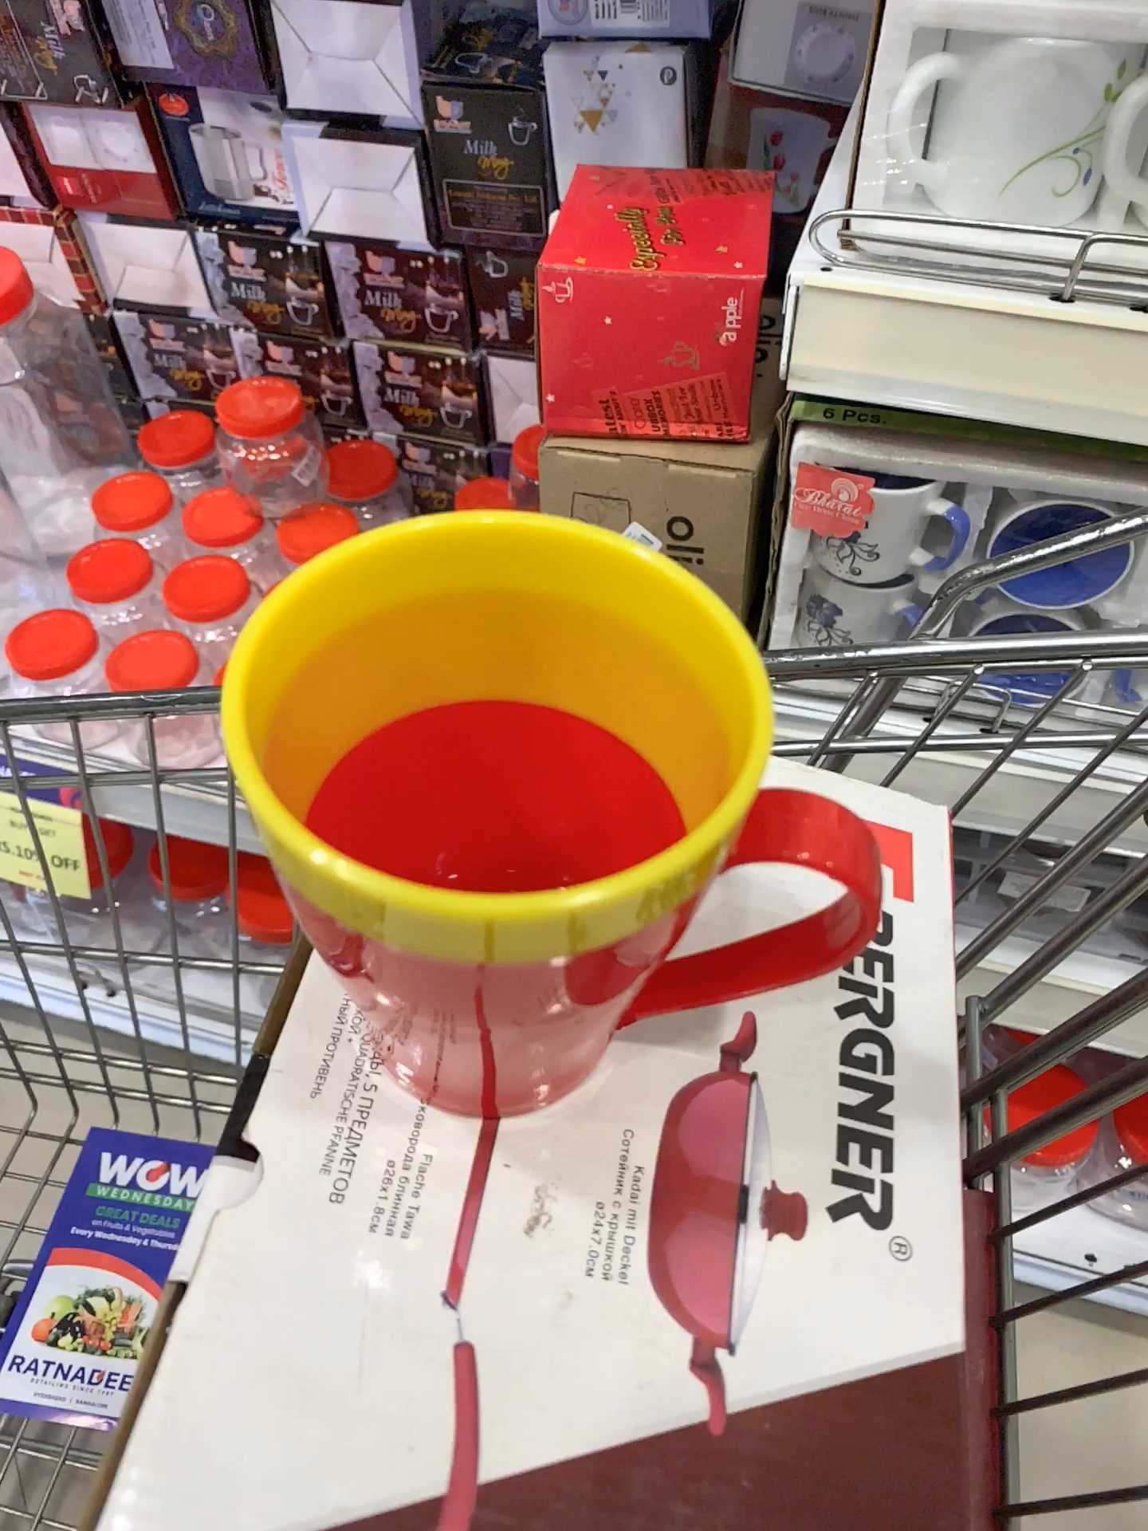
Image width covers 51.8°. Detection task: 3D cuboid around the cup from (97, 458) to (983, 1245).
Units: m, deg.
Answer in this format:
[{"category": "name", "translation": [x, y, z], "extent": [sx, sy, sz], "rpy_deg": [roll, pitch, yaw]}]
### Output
[{"category": "cup", "translation": [0.001, 0.014, 0.199], "extent": [0.110, 0.080, 0.080], "rpy_deg": [12, 51, 7]}]
